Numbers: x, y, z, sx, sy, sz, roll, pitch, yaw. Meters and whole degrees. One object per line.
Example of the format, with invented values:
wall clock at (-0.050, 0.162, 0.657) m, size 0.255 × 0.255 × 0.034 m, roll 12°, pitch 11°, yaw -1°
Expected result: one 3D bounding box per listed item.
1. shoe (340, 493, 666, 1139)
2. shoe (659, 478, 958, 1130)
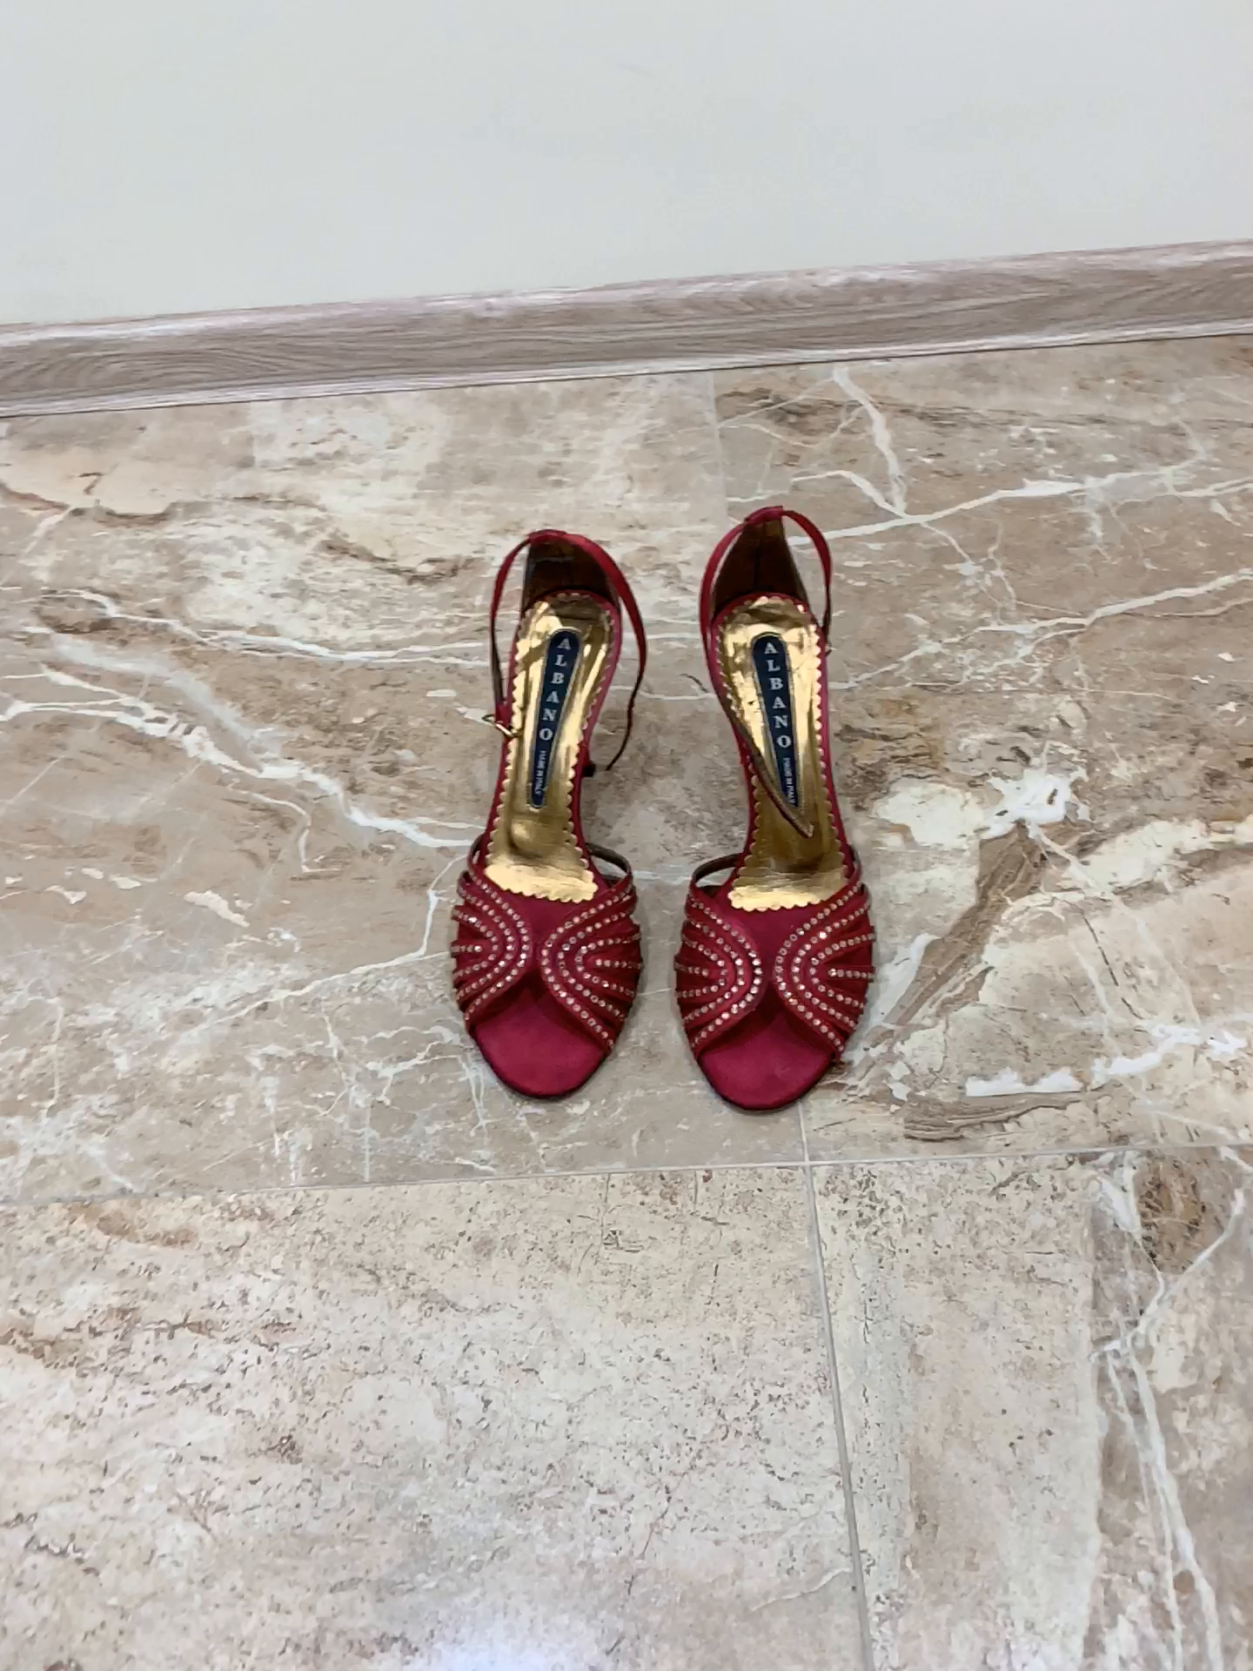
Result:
shoe at (-0.035, -0.014, 0.518) m, size 0.090 × 0.129 × 0.231 m, roll 1°, pitch 50°, yaw 4°
shoe at (0.064, -0.019, 0.513) m, size 0.090 × 0.129 × 0.231 m, roll 1°, pitch 50°, yaw 4°
